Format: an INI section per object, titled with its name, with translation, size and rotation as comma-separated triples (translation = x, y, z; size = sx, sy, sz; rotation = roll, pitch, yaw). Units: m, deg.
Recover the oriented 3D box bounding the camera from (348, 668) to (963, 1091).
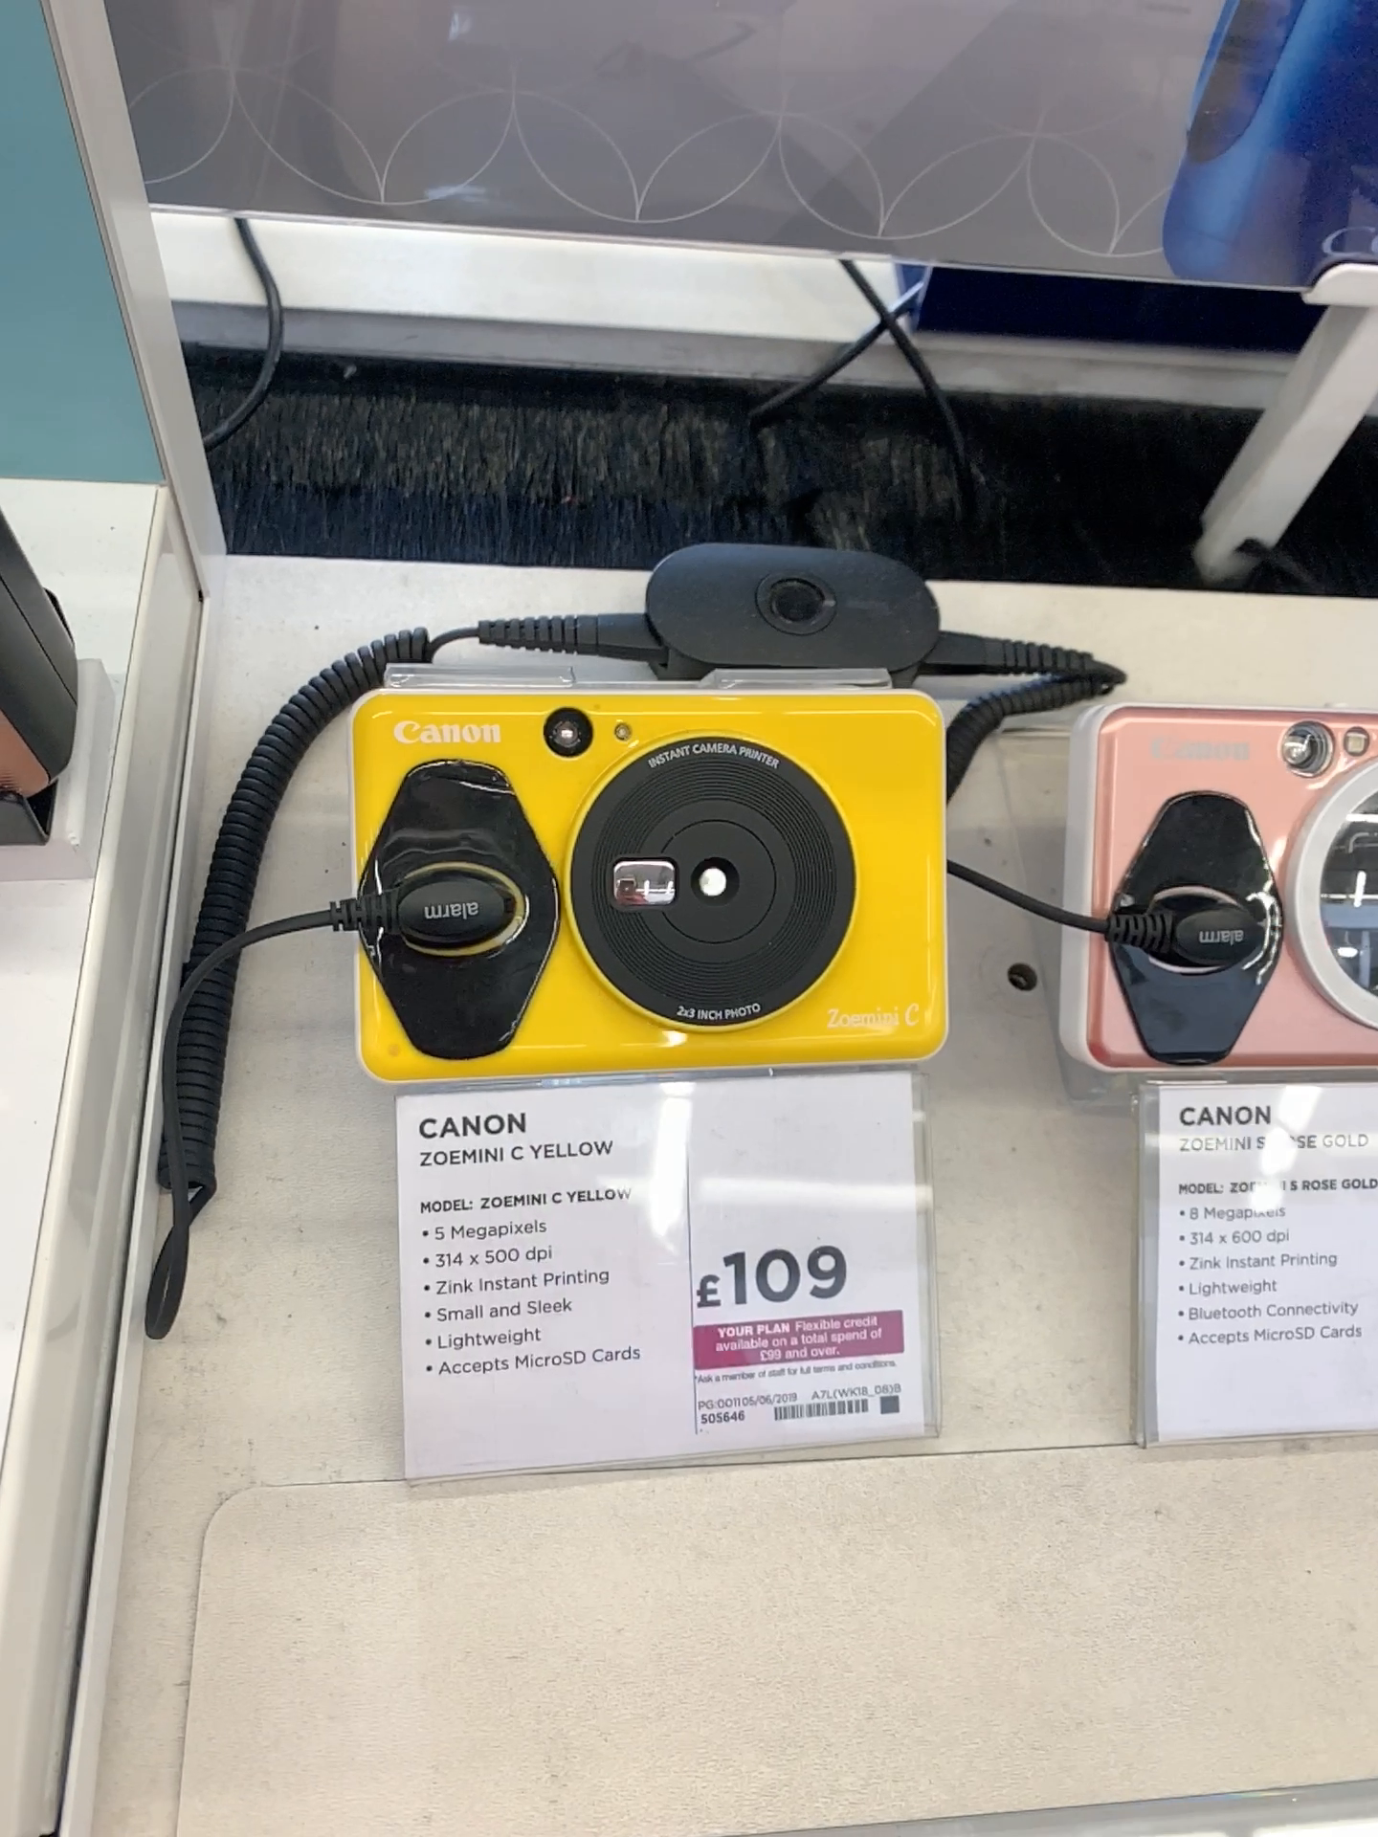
[camera]
translation = -0.006, -0.009, 0.289
size = 0.120, 0.020, 0.080
rotation = -2, 92, -9
